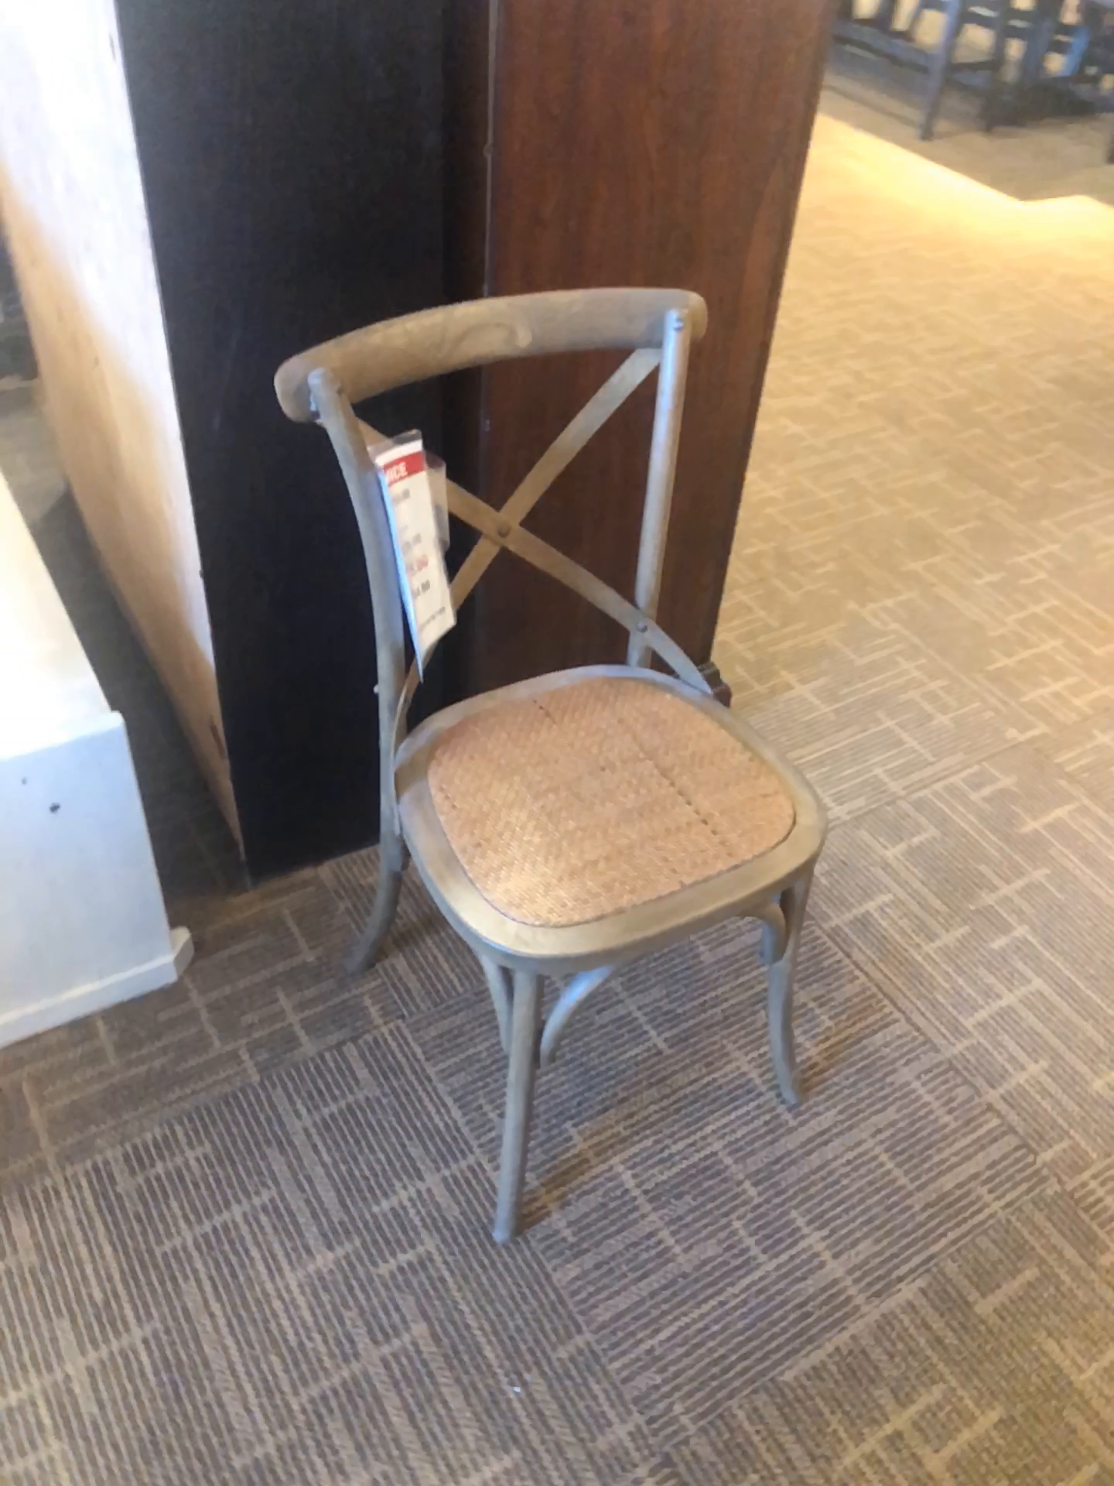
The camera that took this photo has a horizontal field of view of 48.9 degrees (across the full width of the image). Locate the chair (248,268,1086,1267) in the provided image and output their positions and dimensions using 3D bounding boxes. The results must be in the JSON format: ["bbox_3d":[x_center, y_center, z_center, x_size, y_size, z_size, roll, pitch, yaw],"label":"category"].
[{"bbox_3d":[0.041,0.021,1.337,0.516,0.813,0.567,-17,46,-23],"label":"chair"}]
